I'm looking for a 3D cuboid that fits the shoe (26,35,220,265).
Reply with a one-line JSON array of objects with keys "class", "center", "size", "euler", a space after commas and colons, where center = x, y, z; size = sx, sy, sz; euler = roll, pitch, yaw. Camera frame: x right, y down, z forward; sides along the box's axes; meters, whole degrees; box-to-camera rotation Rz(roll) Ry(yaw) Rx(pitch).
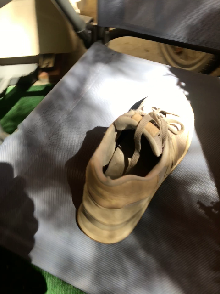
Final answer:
[{"class": "shoe", "center": [0.042, -0.008, 0.339], "size": [0.124, 0.104, 0.288], "euler": [27, 69, 20]}]
